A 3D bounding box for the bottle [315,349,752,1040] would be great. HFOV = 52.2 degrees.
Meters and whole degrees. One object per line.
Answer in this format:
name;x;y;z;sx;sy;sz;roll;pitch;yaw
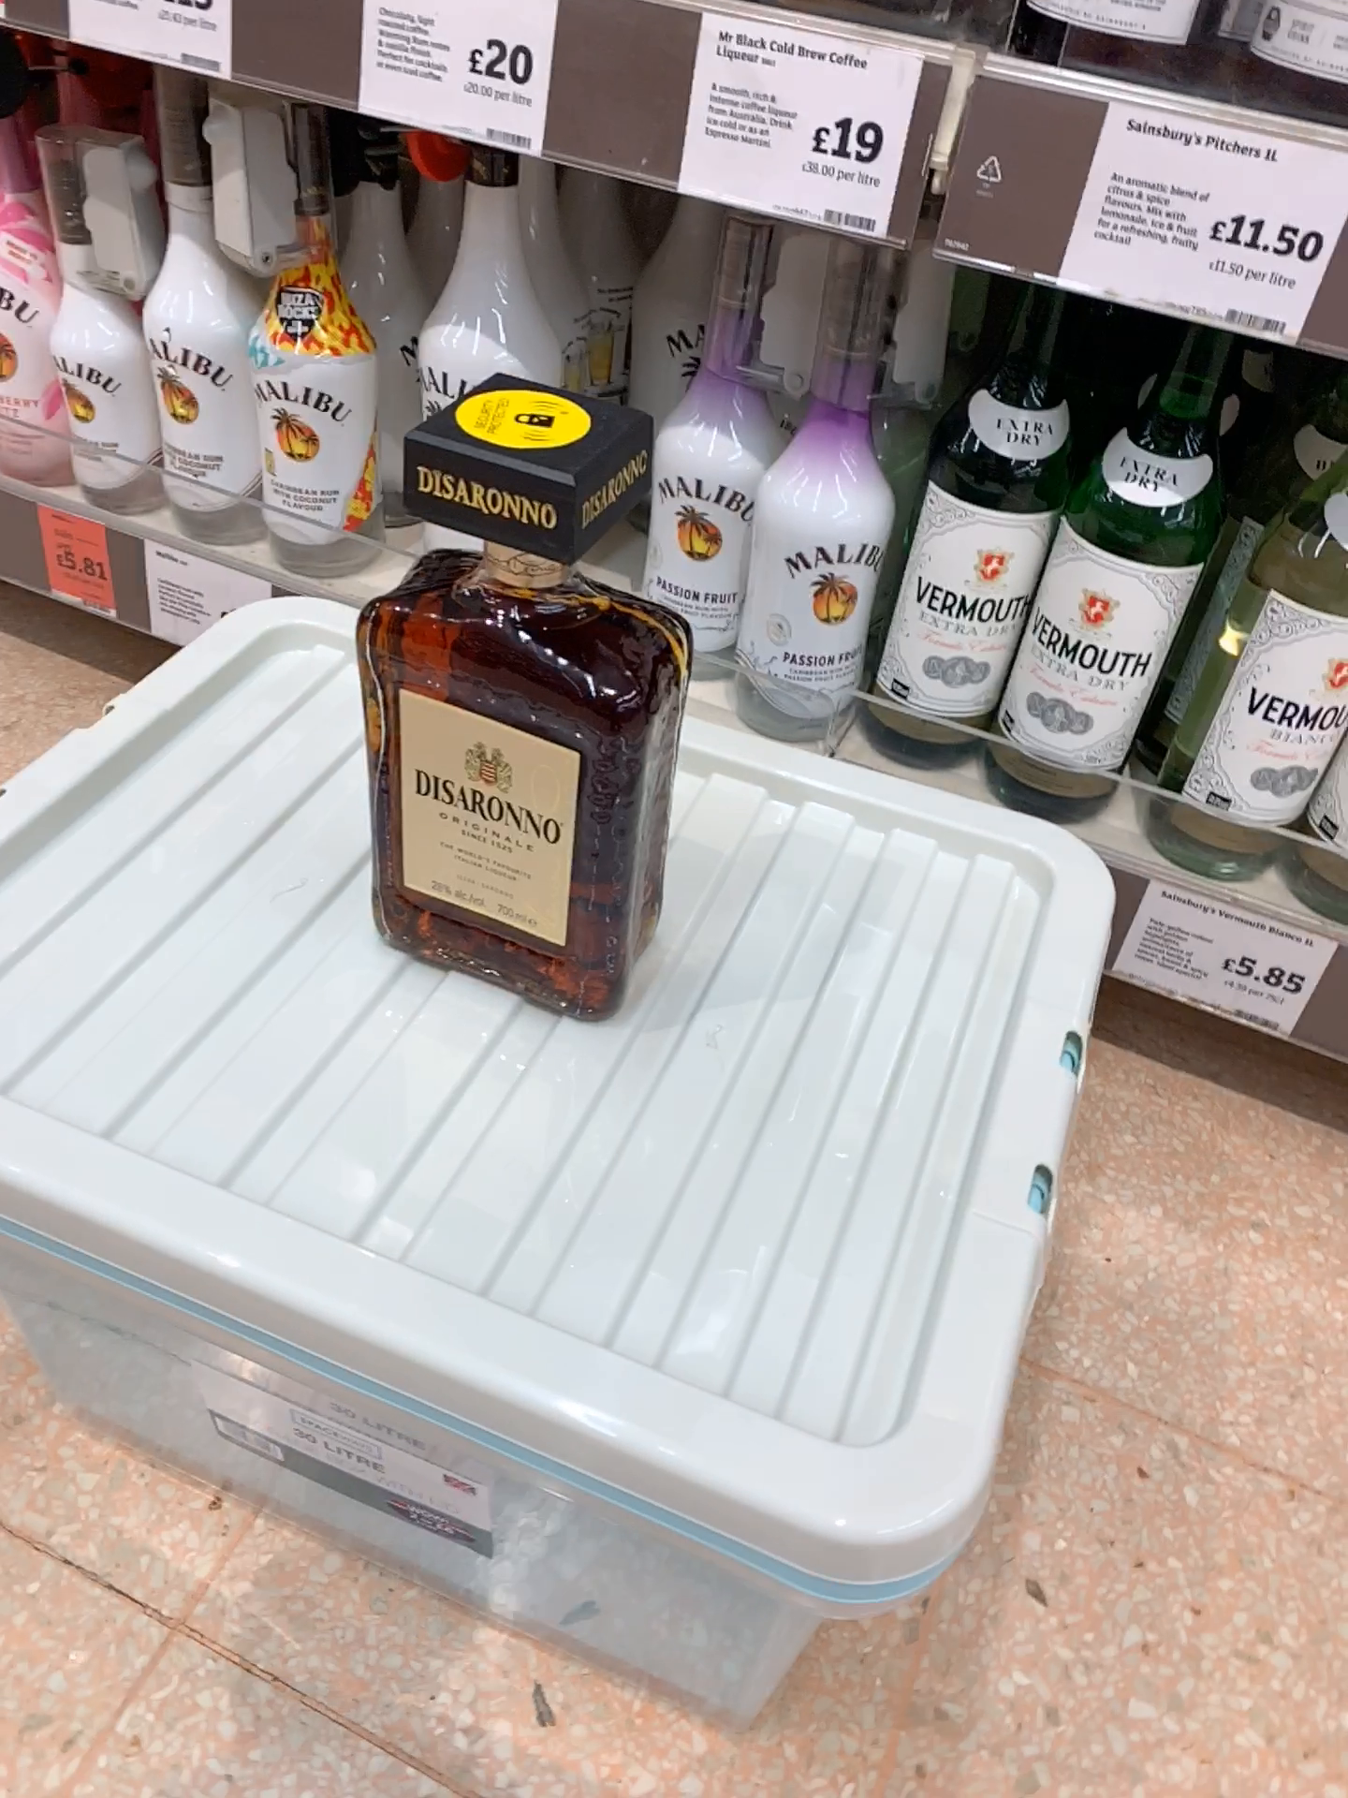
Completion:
bottle;-0.051;-0.064;0.481;0.111;0.208;0.071;20;43;13
